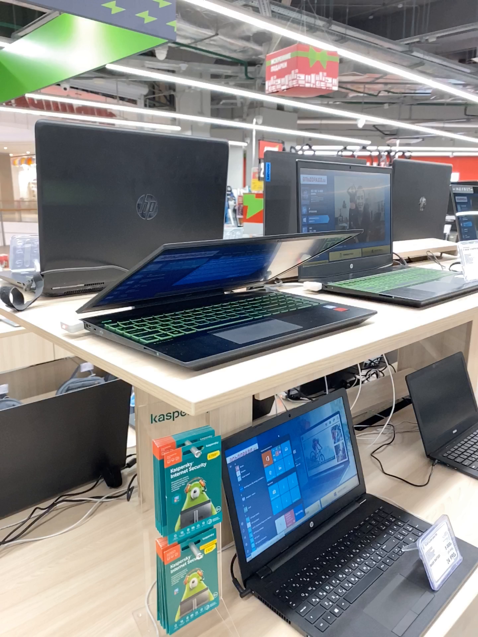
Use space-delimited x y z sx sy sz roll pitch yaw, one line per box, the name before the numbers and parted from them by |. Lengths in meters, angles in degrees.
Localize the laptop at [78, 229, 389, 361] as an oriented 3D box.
laptop | 0.002 -0.060 0.694 0.365 0.115 0.244 -10 18 -42
